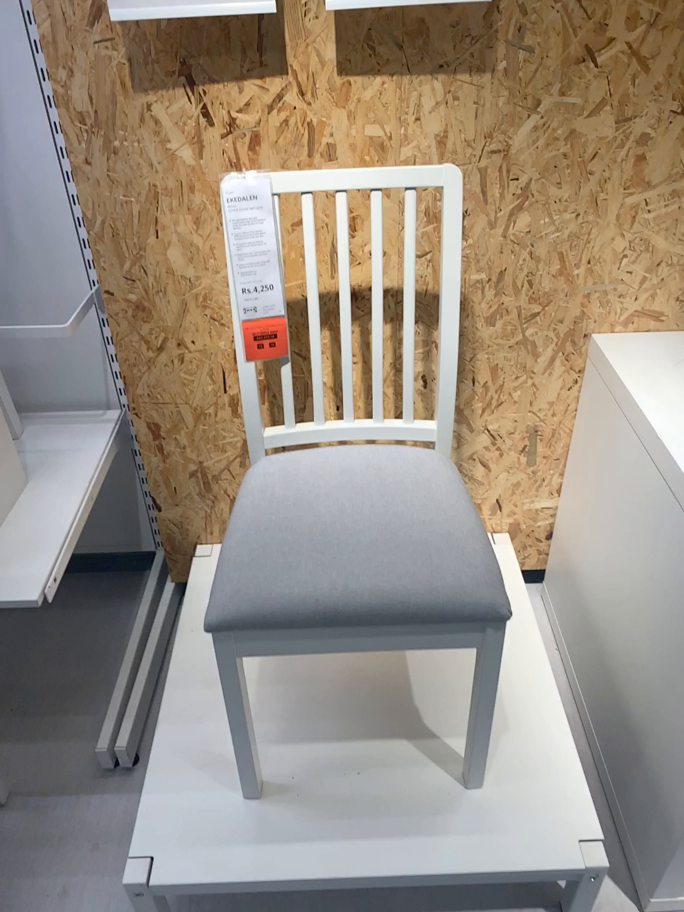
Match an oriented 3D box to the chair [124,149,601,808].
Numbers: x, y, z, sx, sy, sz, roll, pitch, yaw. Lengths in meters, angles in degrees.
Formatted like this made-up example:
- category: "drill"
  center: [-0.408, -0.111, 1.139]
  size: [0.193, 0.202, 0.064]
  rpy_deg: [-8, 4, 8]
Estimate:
- category: "chair"
  center: [0.031, 0.075, 1.137]
  size: [0.450, 0.956, 0.492]
  rpy_deg: [-2, 36, 1]
